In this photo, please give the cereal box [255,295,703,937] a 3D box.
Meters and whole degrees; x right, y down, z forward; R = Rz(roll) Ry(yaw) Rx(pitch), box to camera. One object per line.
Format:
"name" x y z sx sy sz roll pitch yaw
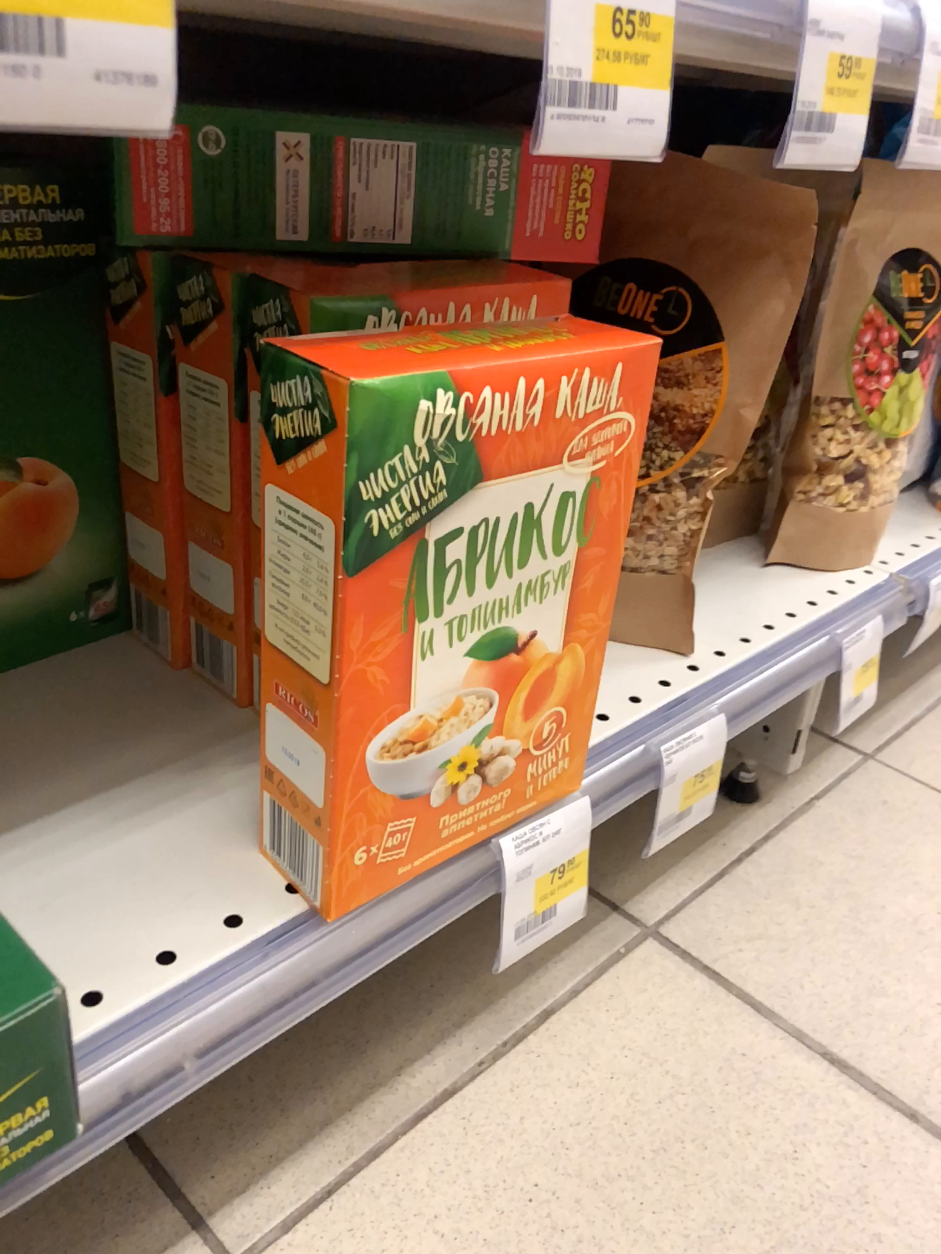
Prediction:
"cereal box" 0.000 -0.009 0.359 0.140 0.189 0.050 -19 36 -39
